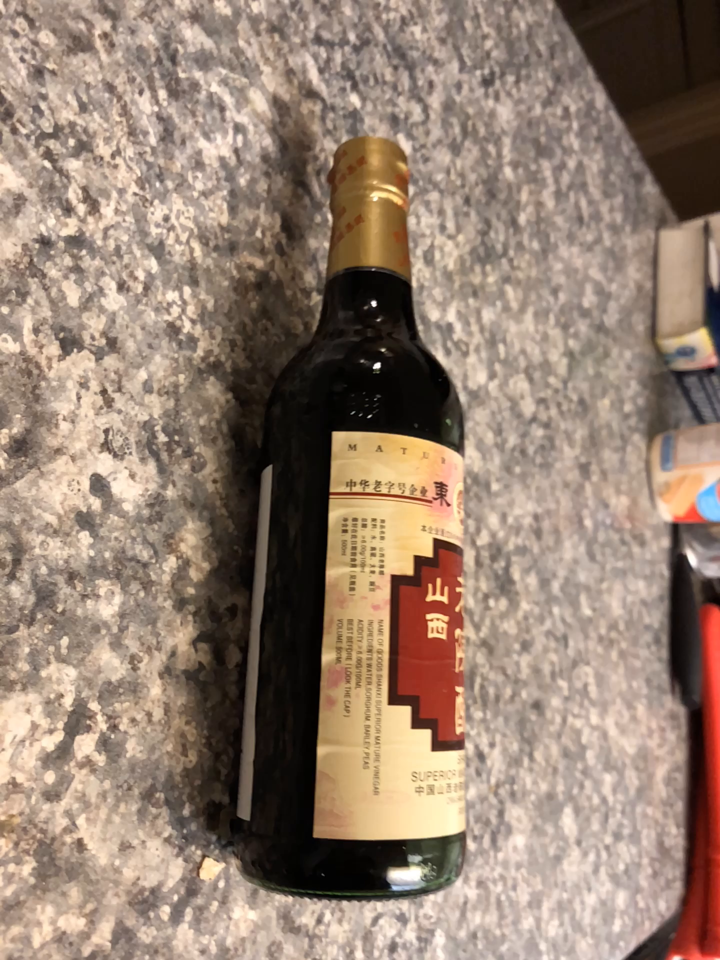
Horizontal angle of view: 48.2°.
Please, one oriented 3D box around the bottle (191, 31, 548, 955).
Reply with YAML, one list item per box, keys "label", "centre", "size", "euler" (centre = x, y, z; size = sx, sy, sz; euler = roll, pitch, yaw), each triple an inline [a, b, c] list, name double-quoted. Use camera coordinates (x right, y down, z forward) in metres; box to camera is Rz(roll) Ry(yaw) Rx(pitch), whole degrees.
- label: "bottle"
  centre: [0.009, -0.003, 0.248]
  size: [0.070, 0.070, 0.240]
  euler: [28, 60, -56]
